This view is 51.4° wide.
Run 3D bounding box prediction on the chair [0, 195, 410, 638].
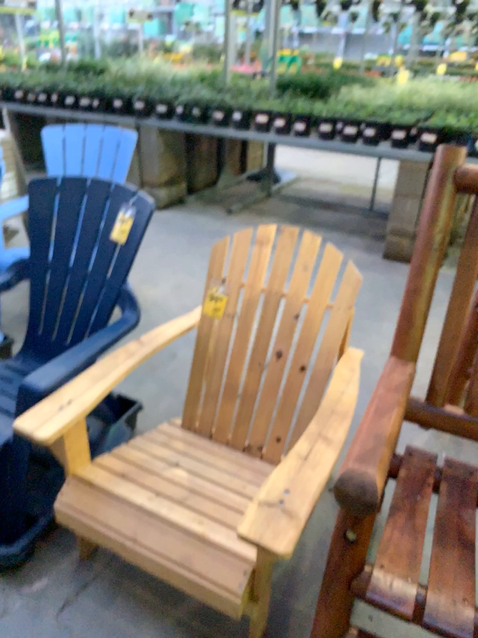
[{"bbox_3d":[-0.054,0.248,1.418,0.728,0.887,0.894,15,32,23],"label":"chair"}]
